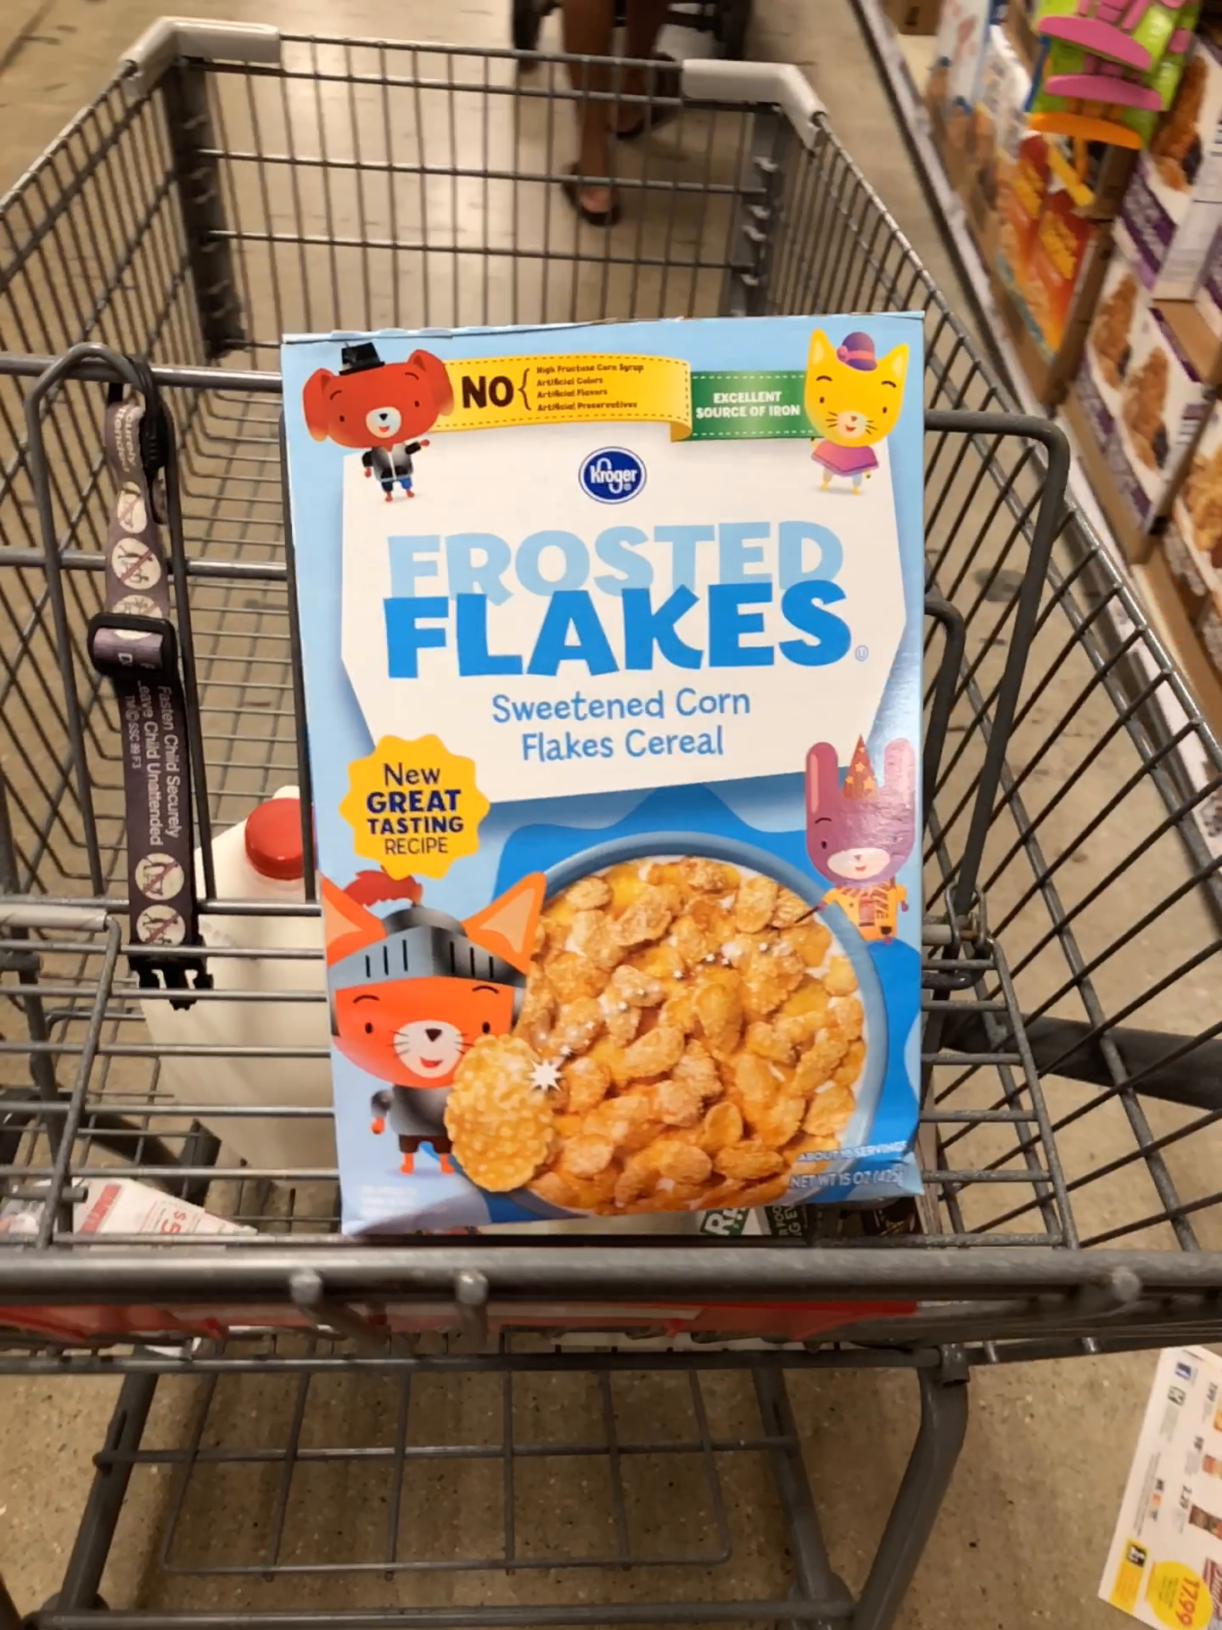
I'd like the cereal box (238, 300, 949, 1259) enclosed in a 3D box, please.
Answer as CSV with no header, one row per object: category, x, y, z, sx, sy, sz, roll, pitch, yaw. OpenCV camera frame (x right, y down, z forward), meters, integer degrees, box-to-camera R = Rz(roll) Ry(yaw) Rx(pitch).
cereal box,-0.002,-0.013,0.427,0.200,0.270,0.070,-3,6,-8
